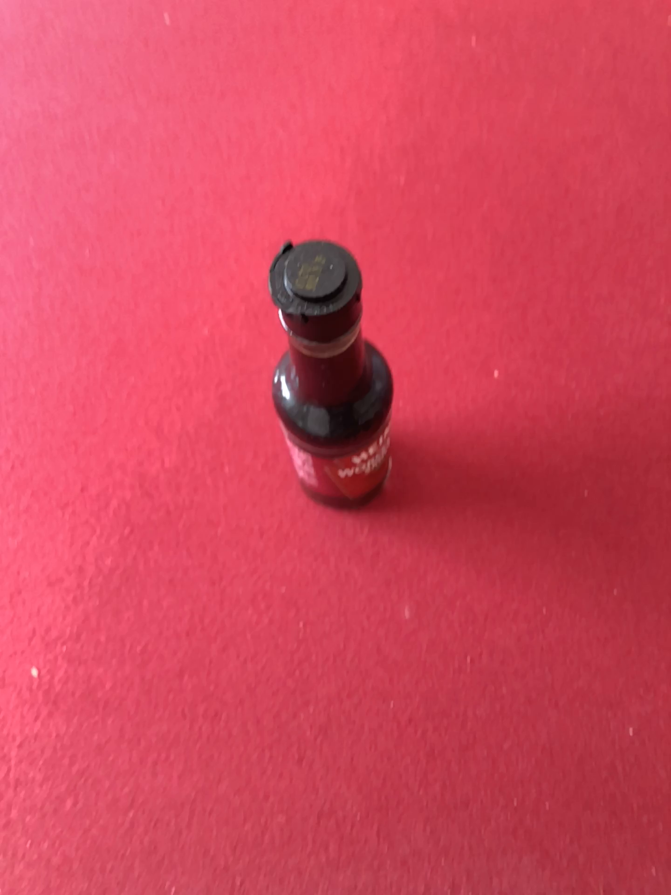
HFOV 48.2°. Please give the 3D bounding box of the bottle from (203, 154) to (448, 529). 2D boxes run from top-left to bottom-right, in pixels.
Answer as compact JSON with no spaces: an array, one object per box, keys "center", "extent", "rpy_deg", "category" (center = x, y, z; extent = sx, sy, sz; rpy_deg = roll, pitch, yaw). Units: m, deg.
[{"center":[0.001,-0.025,0.299],"extent":[0.050,0.180,0.050],"rpy_deg":[-1,69,3],"category":"bottle"}]
